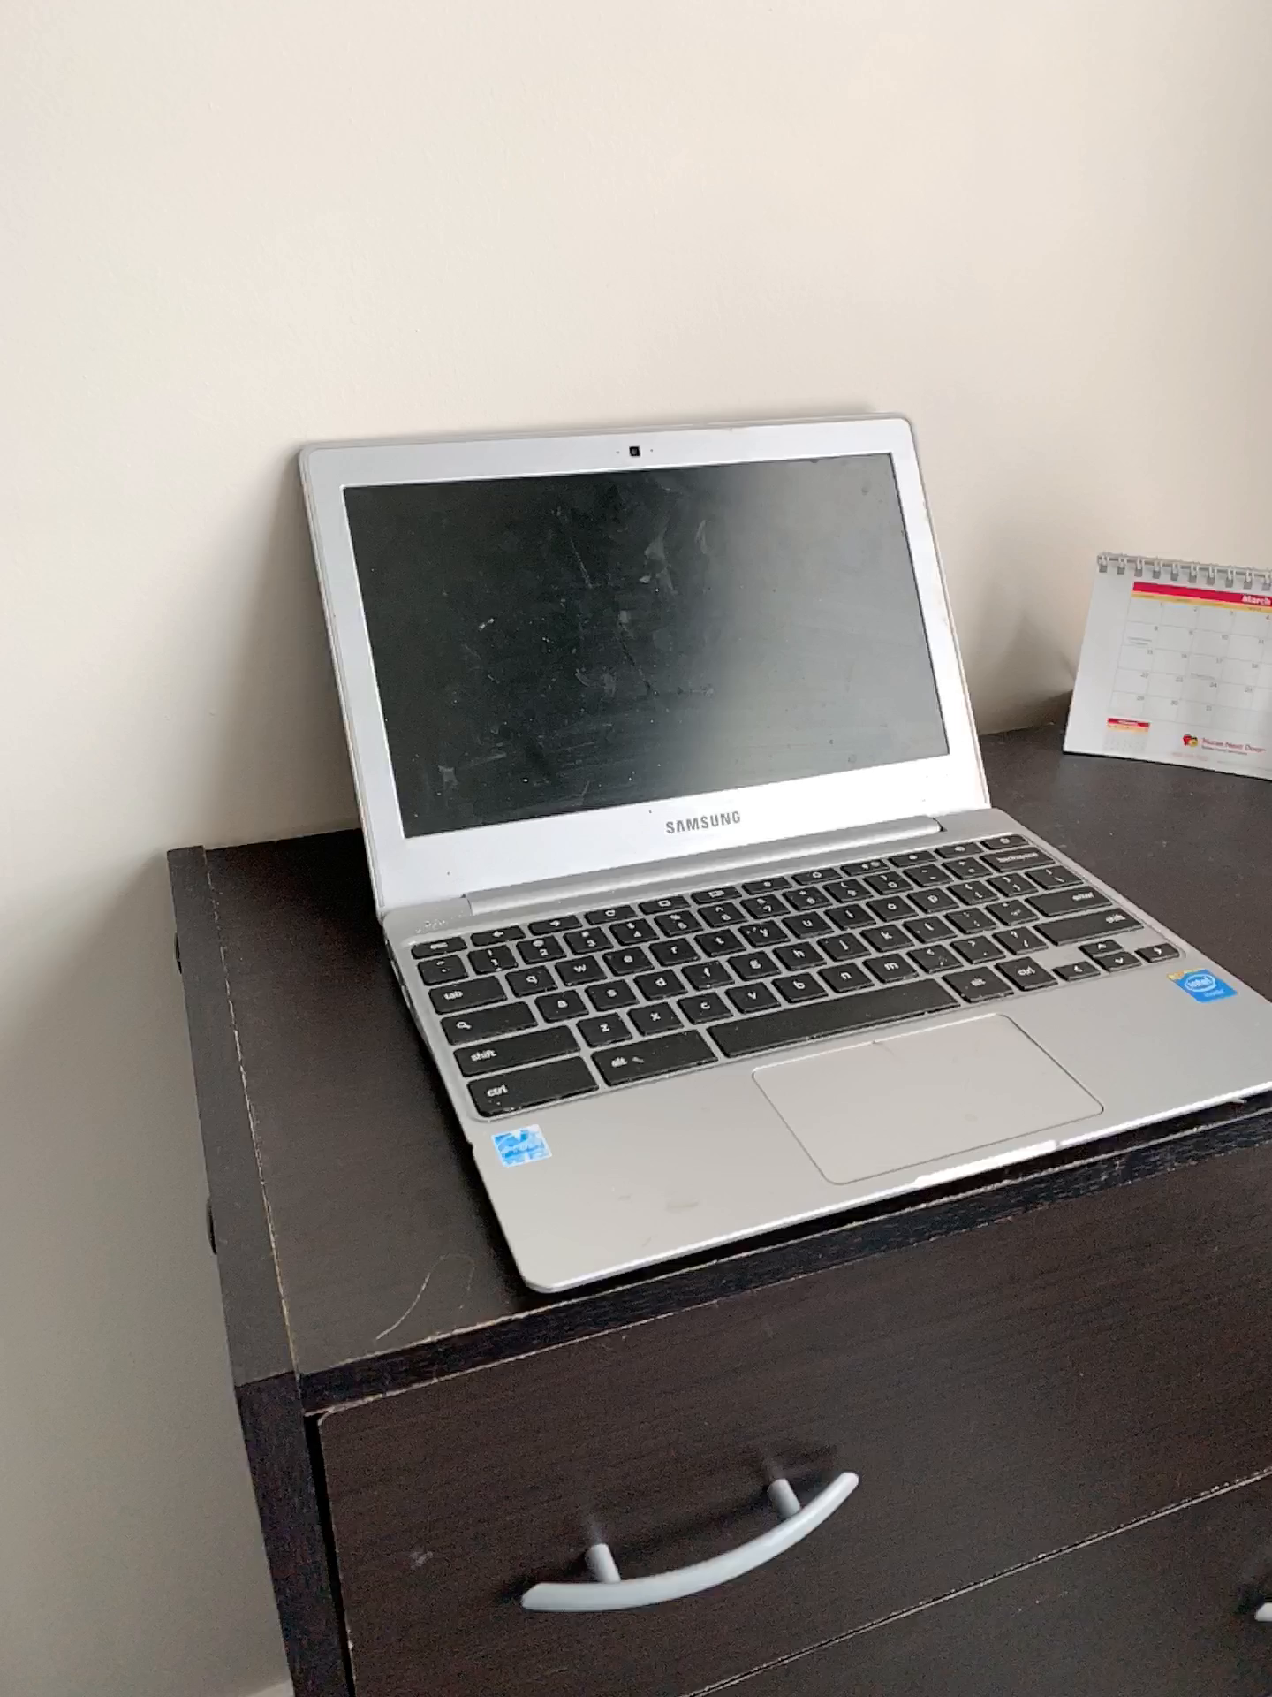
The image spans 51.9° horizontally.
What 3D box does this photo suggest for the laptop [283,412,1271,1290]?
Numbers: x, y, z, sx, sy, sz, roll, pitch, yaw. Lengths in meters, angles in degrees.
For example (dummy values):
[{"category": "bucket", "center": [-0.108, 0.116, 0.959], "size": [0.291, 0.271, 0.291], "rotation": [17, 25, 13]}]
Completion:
[{"category": "laptop", "center": [0.047, -0.048, 0.488], "size": [0.291, 0.153, 0.318], "rotation": [-10, 30, -20]}]
